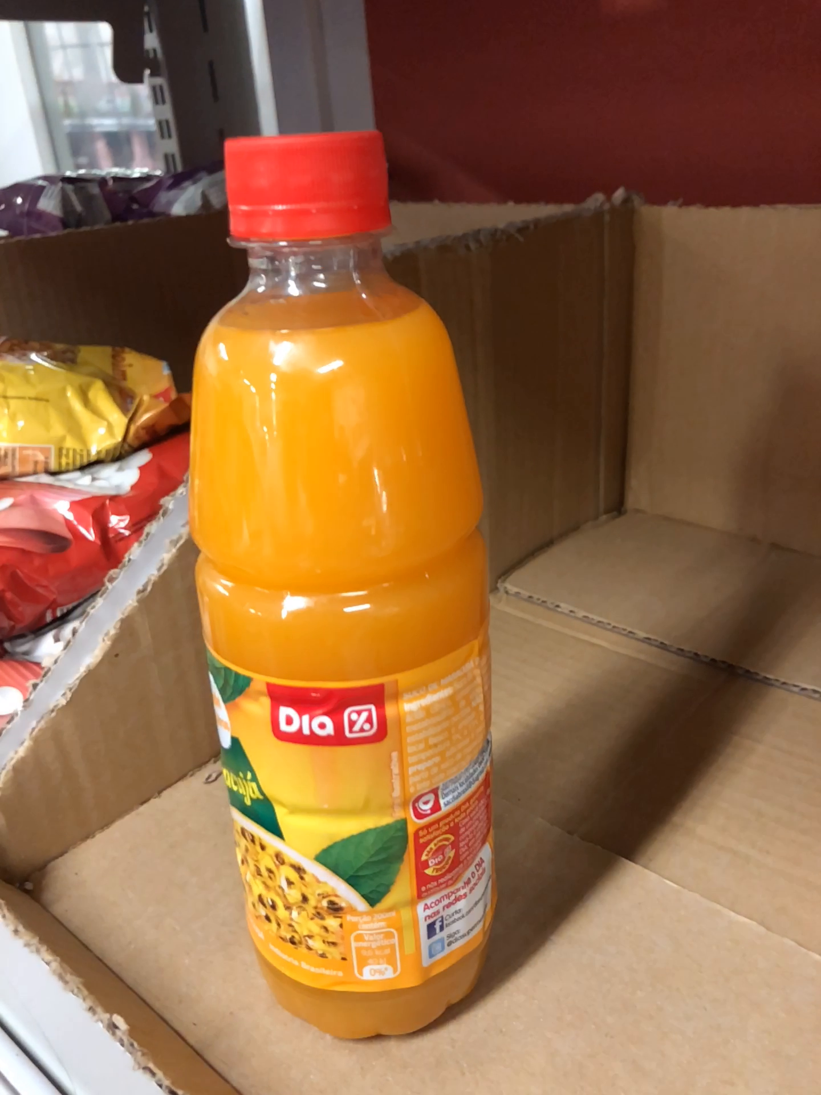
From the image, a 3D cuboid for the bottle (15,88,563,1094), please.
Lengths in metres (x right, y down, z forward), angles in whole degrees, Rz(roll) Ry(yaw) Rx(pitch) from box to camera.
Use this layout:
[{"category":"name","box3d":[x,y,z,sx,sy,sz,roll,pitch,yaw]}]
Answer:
[{"category":"bottle","box3d":[-0.017,0.013,0.202,0.070,0.199,0.070,-4,24,2]}]
